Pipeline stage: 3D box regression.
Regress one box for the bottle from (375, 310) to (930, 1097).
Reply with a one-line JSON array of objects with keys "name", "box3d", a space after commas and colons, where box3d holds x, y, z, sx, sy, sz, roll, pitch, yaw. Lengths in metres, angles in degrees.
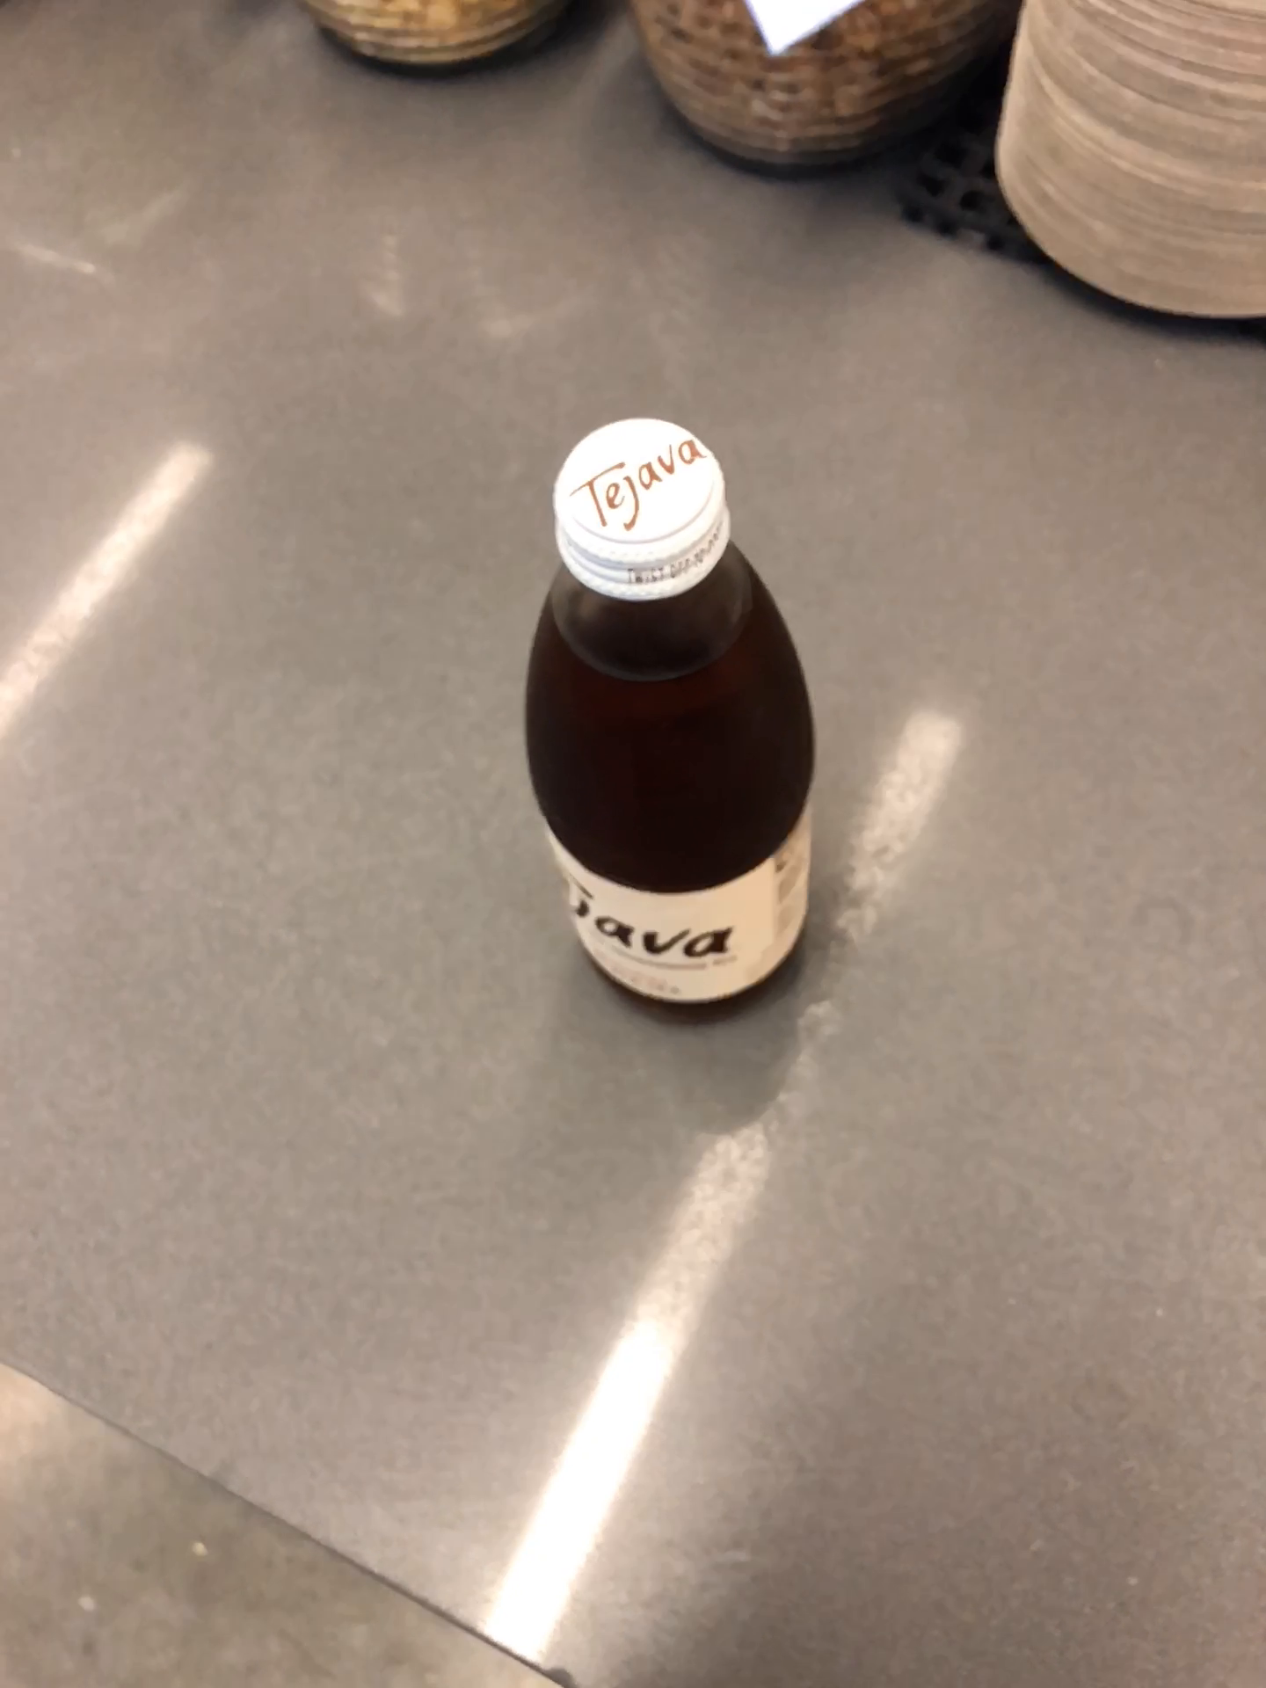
[{"name": "bottle", "box3d": [0.012, -0.015, 0.325, 0.070, 0.190, 0.070, -2, 64, 4]}]
